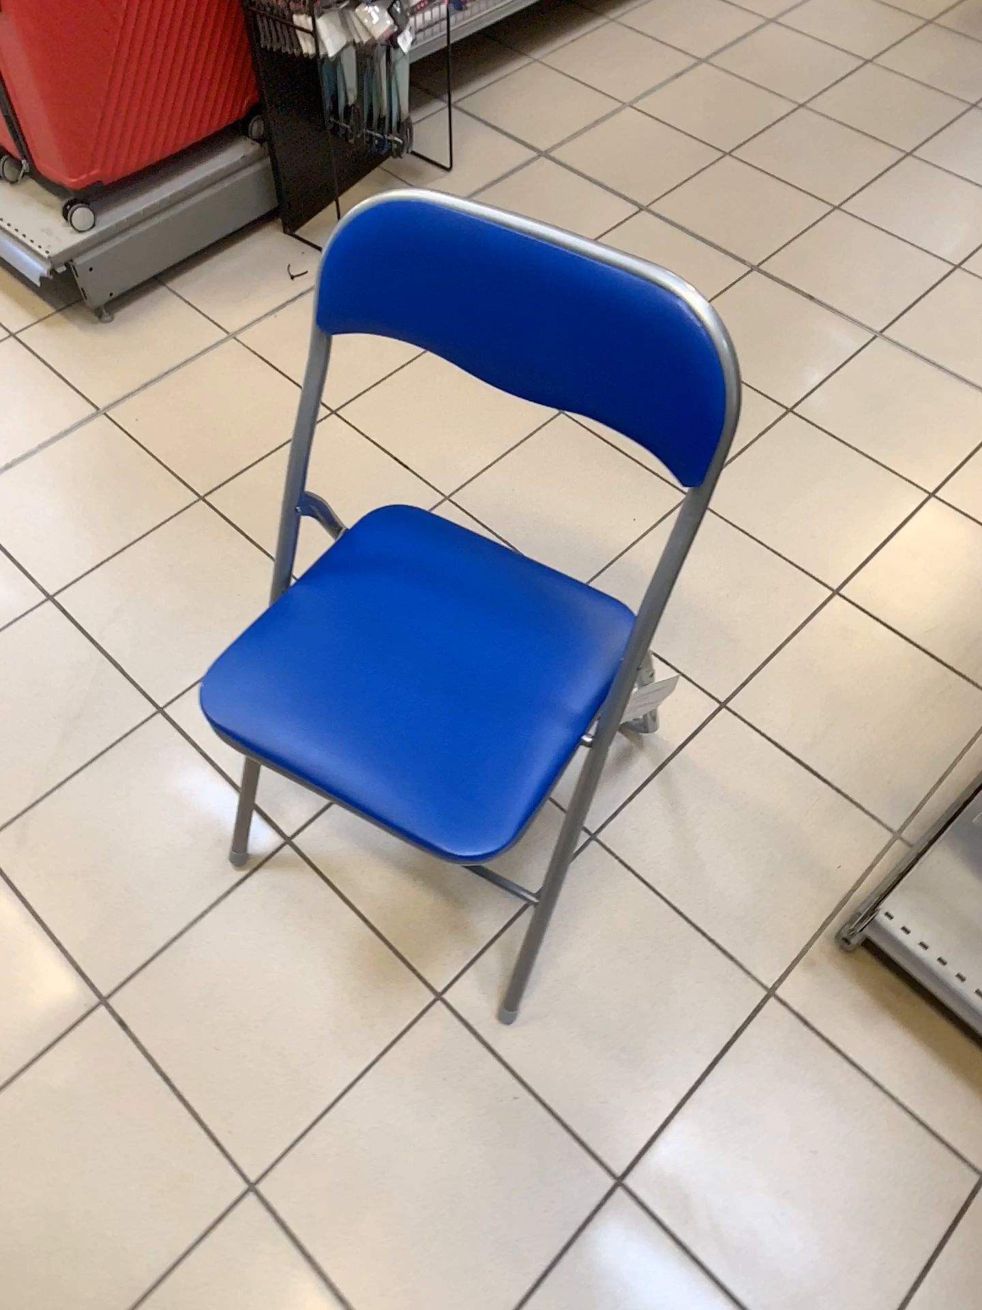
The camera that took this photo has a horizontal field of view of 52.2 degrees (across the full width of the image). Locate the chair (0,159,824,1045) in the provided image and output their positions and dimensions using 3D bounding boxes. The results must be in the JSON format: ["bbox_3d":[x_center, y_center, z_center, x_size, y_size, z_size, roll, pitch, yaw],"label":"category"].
[{"bbox_3d":[-0.051,-0.019,1.078,0.479,0.664,0.526,25,60,15],"label":"chair"}]
